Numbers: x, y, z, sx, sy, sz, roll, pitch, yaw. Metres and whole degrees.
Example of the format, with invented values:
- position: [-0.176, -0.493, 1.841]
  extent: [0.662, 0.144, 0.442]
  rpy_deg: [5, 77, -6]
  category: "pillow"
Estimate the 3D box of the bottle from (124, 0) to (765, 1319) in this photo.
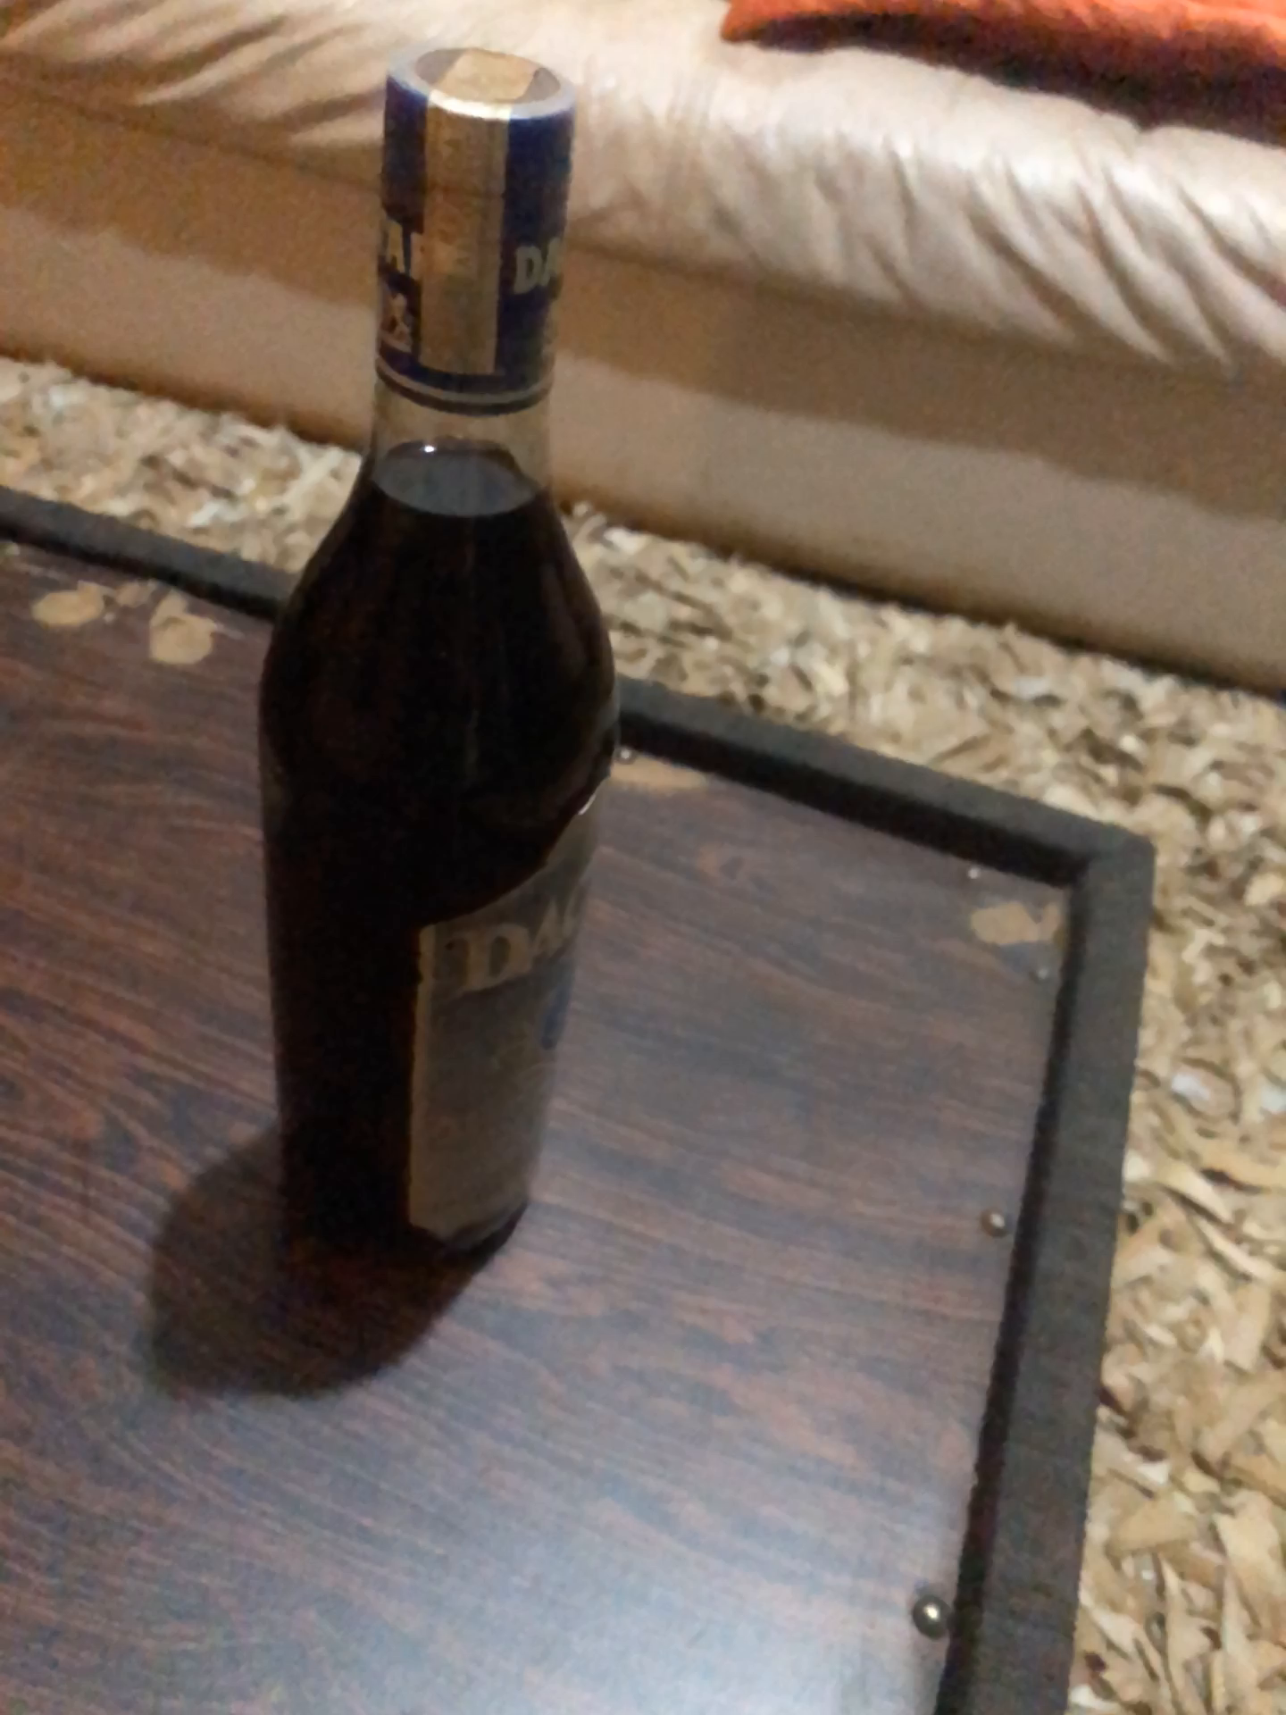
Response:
- position: [-0.043, -0.016, 0.340]
  extent: [0.080, 0.308, 0.091]
  rpy_deg: [13, 44, 4]
  category: "bottle"
